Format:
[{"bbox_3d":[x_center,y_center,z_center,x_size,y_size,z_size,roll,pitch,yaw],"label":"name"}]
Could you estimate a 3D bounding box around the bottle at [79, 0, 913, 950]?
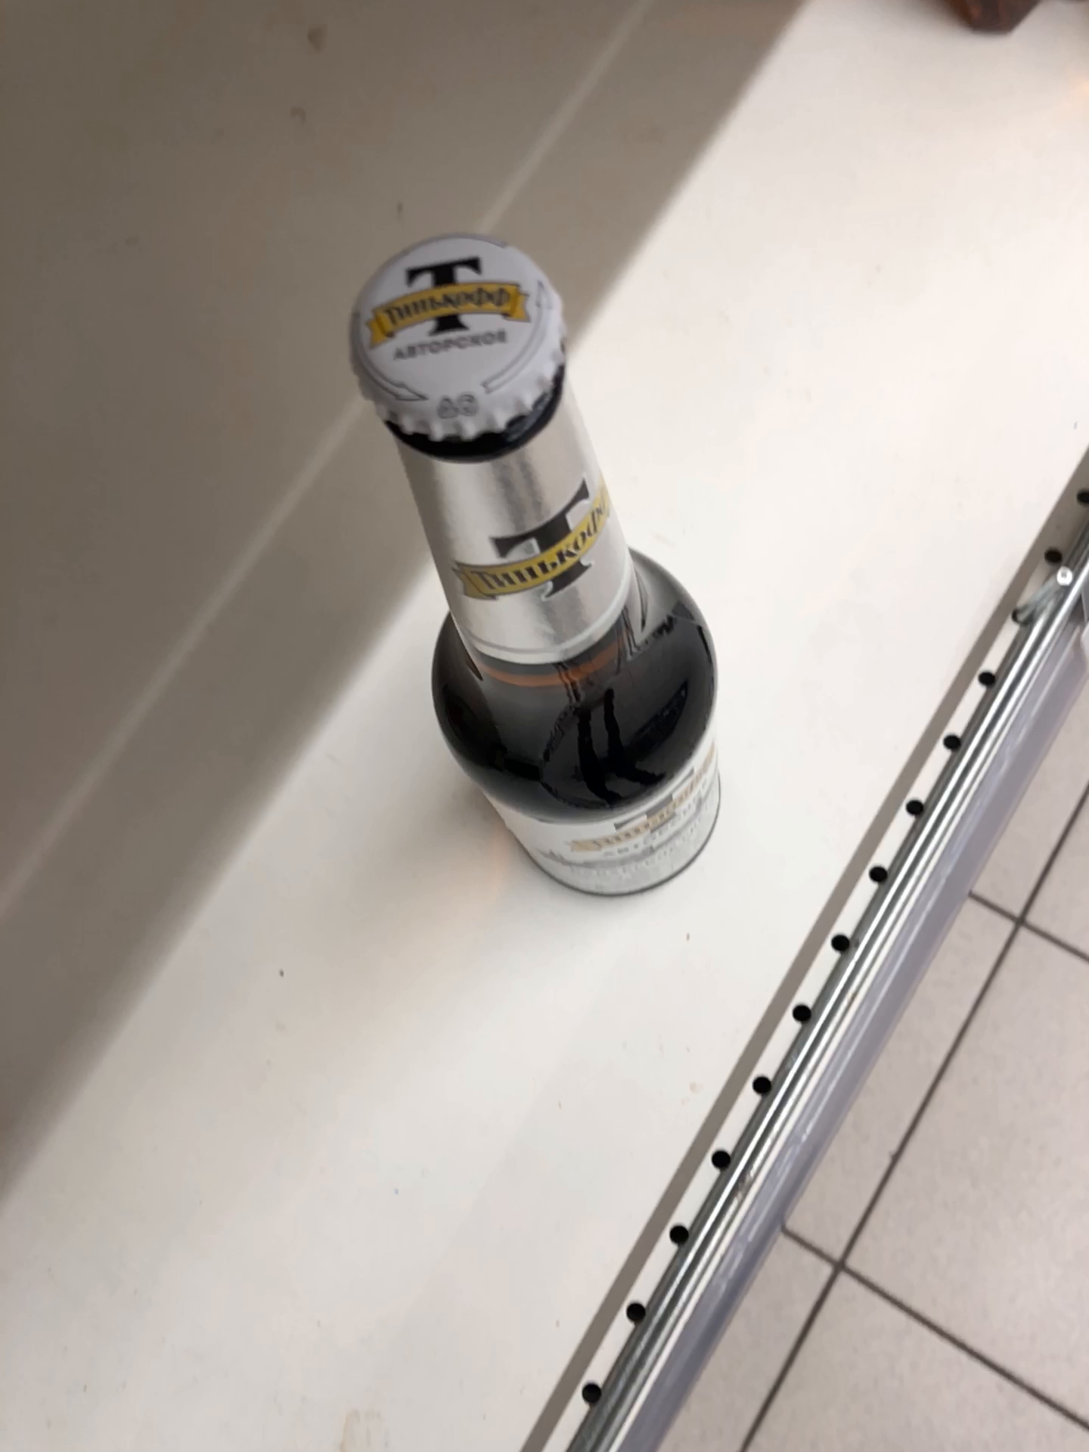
[{"bbox_3d":[0.008,-0.017,0.269,0.080,0.250,0.070,-34,71,-3],"label":"bottle"}]
